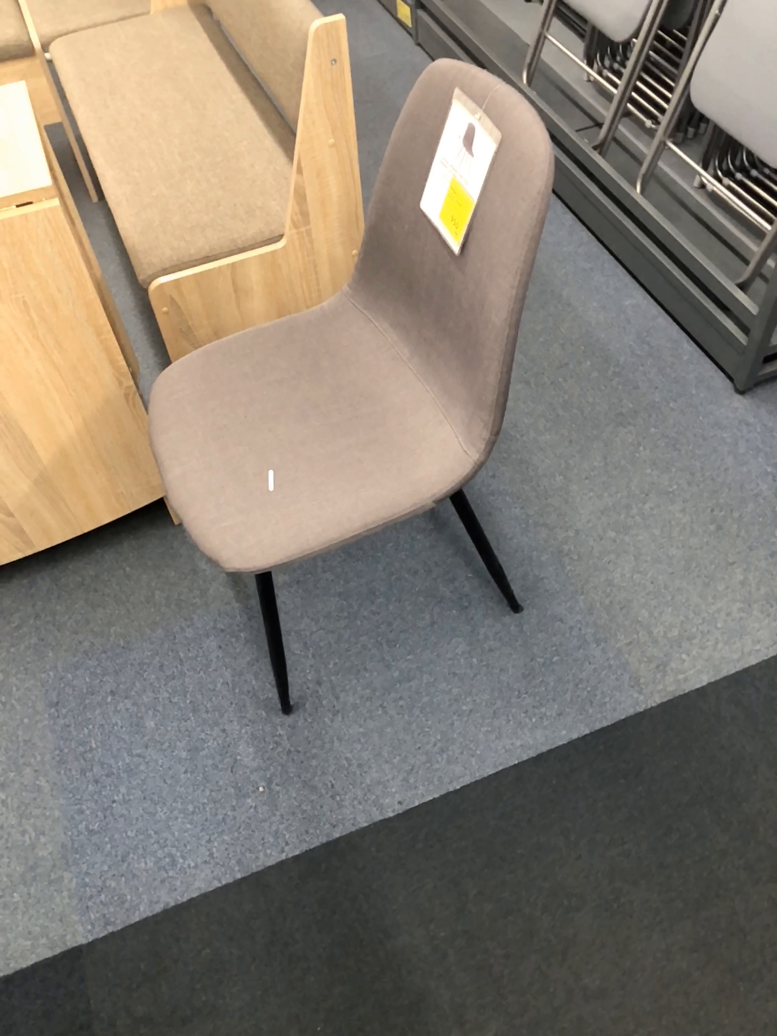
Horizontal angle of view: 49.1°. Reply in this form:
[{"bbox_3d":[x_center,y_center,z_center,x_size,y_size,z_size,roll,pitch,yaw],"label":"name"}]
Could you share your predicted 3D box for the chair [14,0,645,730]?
[{"bbox_3d":[-0.069,-0.173,1.233,0.540,0.808,0.481,-22,54,-12],"label":"chair"}]
